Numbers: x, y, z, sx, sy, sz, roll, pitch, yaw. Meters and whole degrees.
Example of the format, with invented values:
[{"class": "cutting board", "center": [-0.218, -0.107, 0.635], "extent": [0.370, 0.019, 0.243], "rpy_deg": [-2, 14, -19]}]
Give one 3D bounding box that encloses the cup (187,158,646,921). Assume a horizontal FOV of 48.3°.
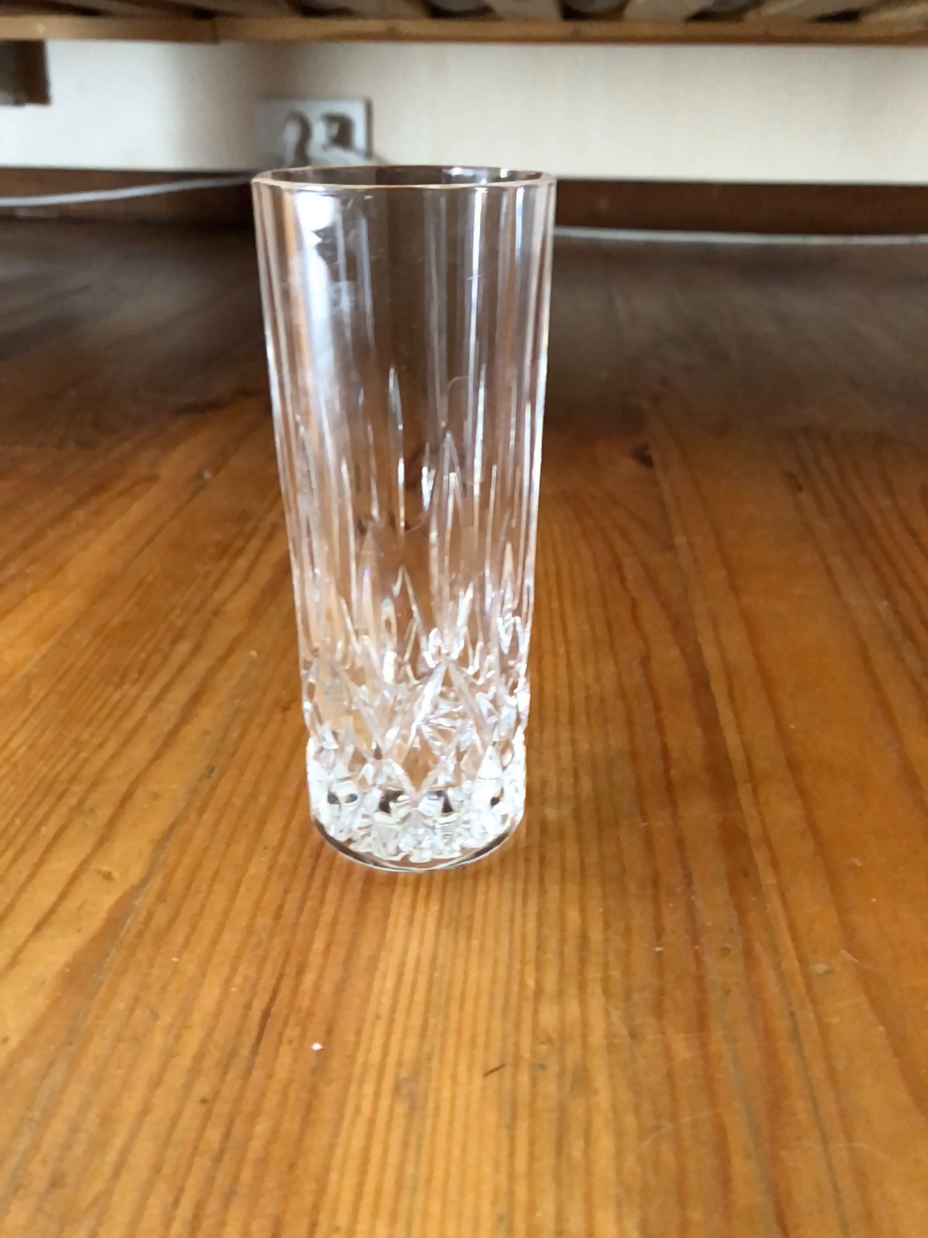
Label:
[{"class": "cup", "center": [-0.009, -0.020, 0.228], "extent": [0.059, 0.144, 0.064], "rpy_deg": [1, 27, 0]}]
